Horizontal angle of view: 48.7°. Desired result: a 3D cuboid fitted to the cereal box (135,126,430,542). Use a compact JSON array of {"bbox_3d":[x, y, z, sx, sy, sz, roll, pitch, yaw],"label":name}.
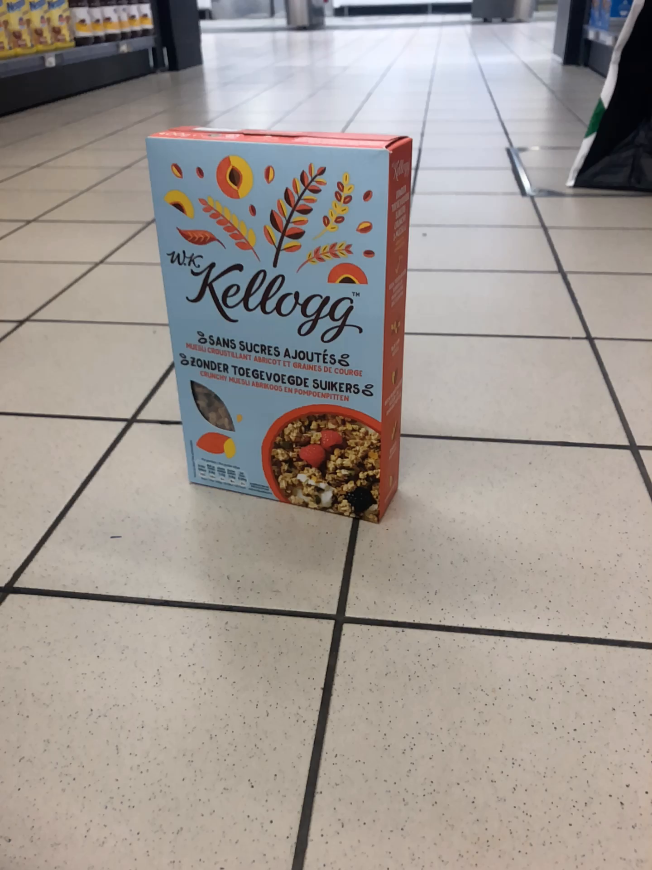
[{"bbox_3d":[-0.023,-0.059,0.437,0.150,0.229,0.050,11,31,21],"label":"cereal box"}]
